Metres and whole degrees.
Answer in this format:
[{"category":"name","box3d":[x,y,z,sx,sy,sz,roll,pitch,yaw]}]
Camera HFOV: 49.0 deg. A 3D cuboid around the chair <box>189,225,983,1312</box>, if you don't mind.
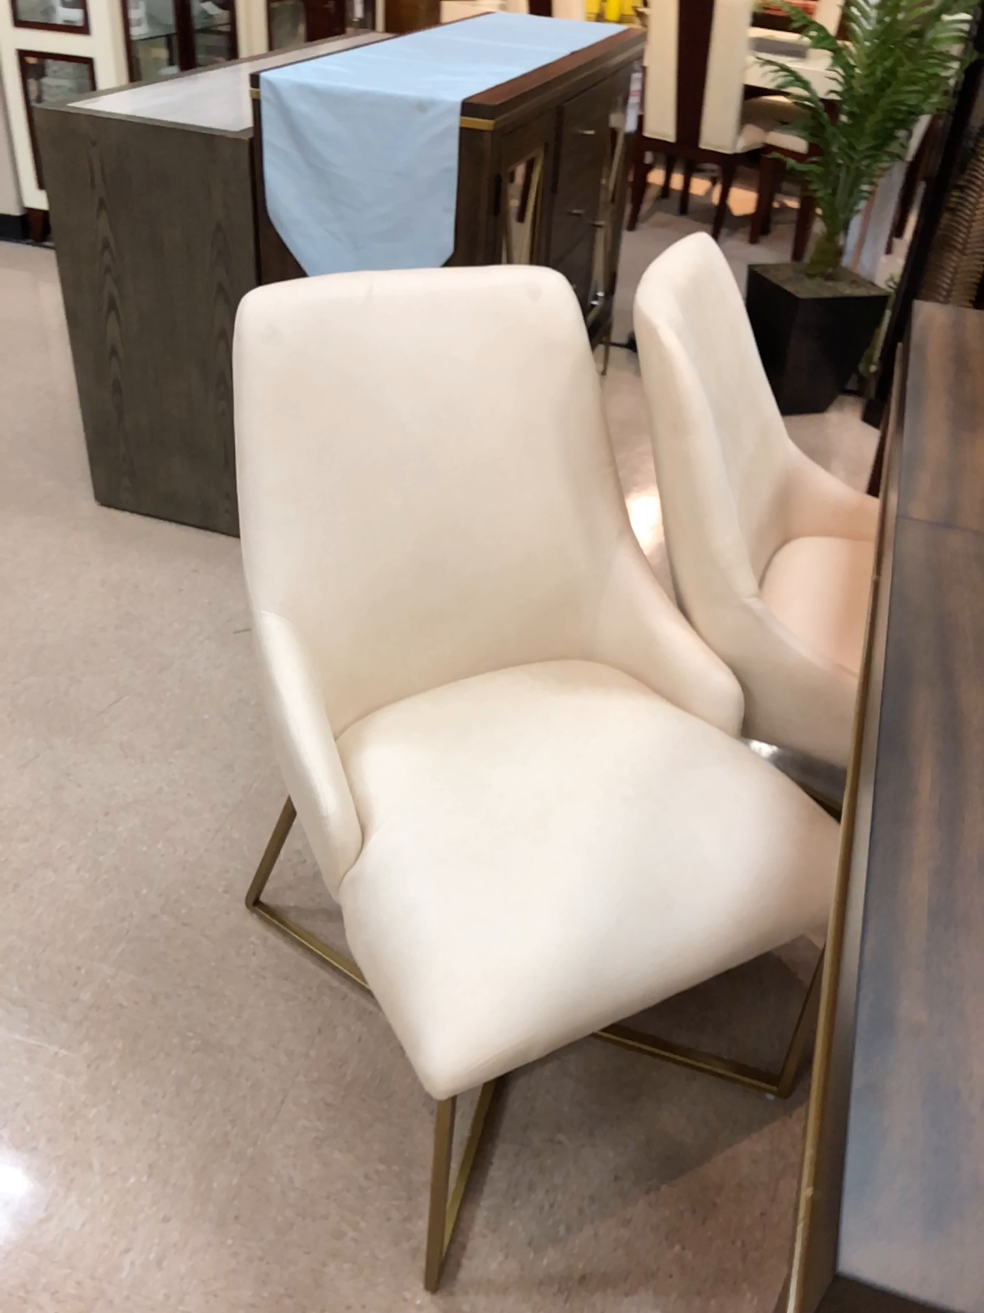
[{"category":"chair","box3d":[0.055,0.087,1.210,0.540,0.904,0.644,-14,39,-24]}]
